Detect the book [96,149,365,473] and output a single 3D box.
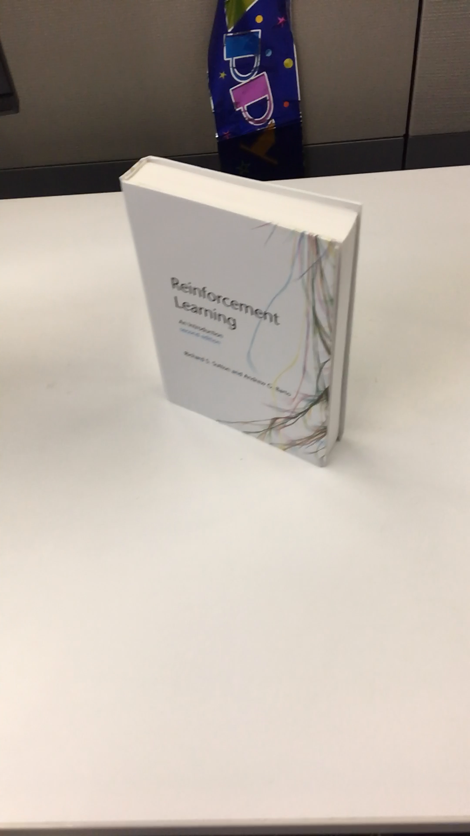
[{"bbox_3d":[0.002,-0.076,0.552,0.180,0.230,0.050,21,55,23],"label":"book"}]
